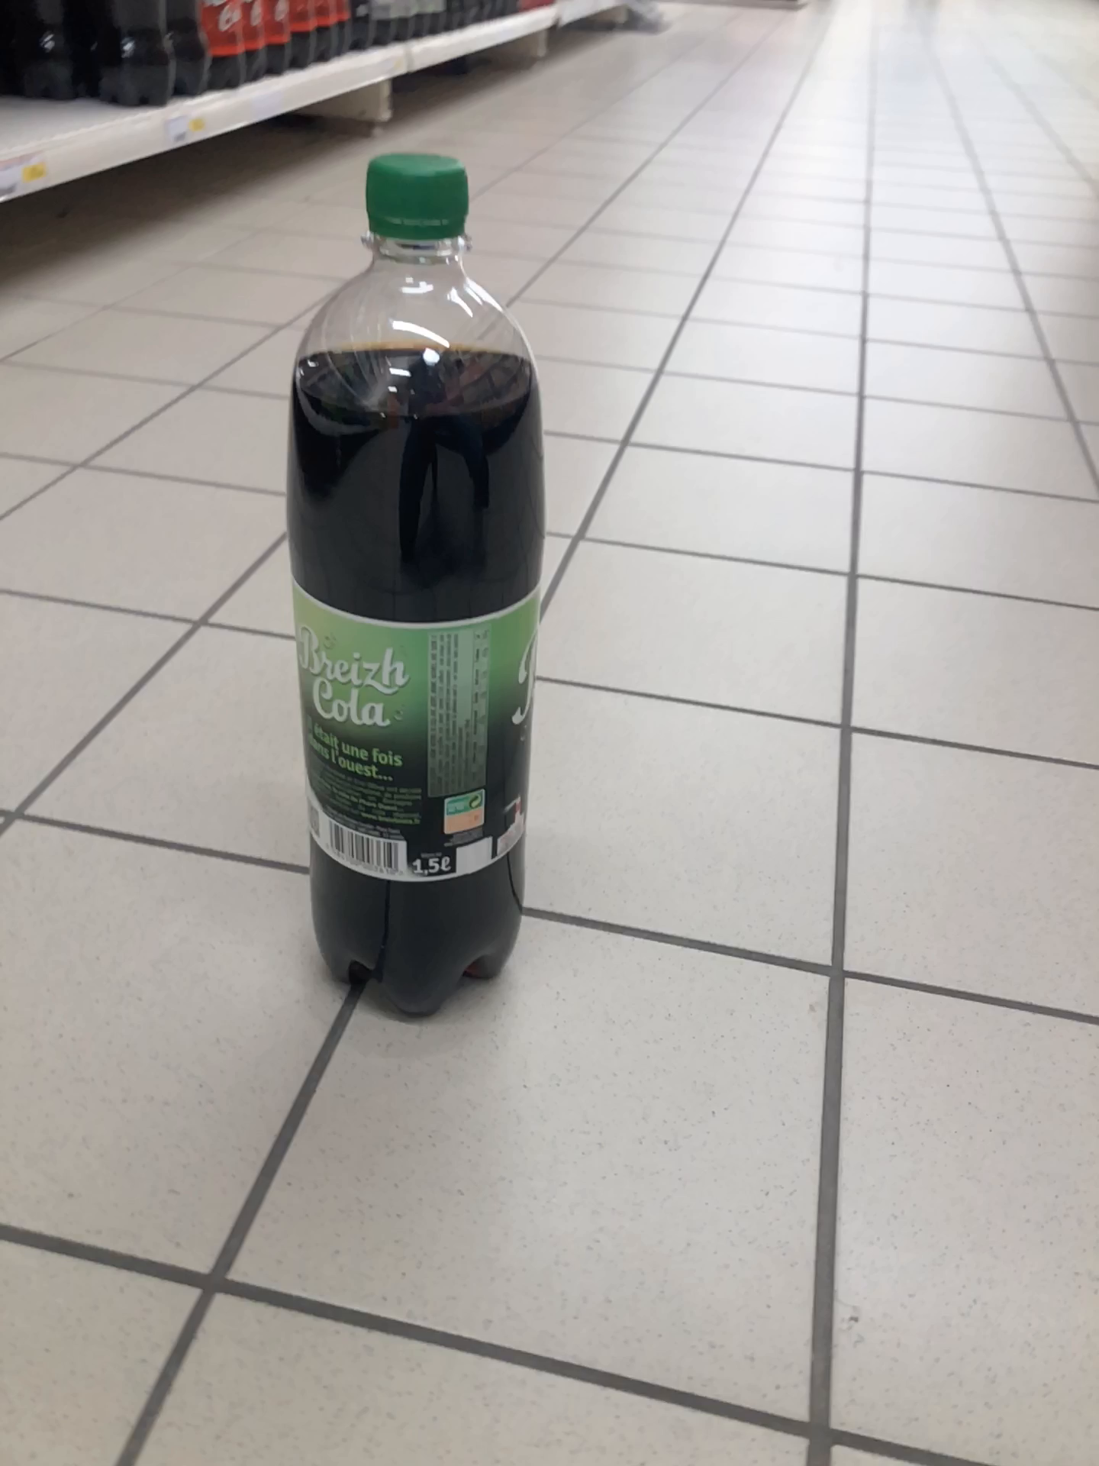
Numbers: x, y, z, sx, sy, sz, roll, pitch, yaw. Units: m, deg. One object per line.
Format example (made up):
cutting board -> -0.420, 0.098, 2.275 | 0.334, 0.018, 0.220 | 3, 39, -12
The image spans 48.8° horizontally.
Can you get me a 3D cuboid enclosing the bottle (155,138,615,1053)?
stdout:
bottle -> -0.058, -0.041, 0.436 | 0.100, 0.298, 0.100 | 2, 33, -2
